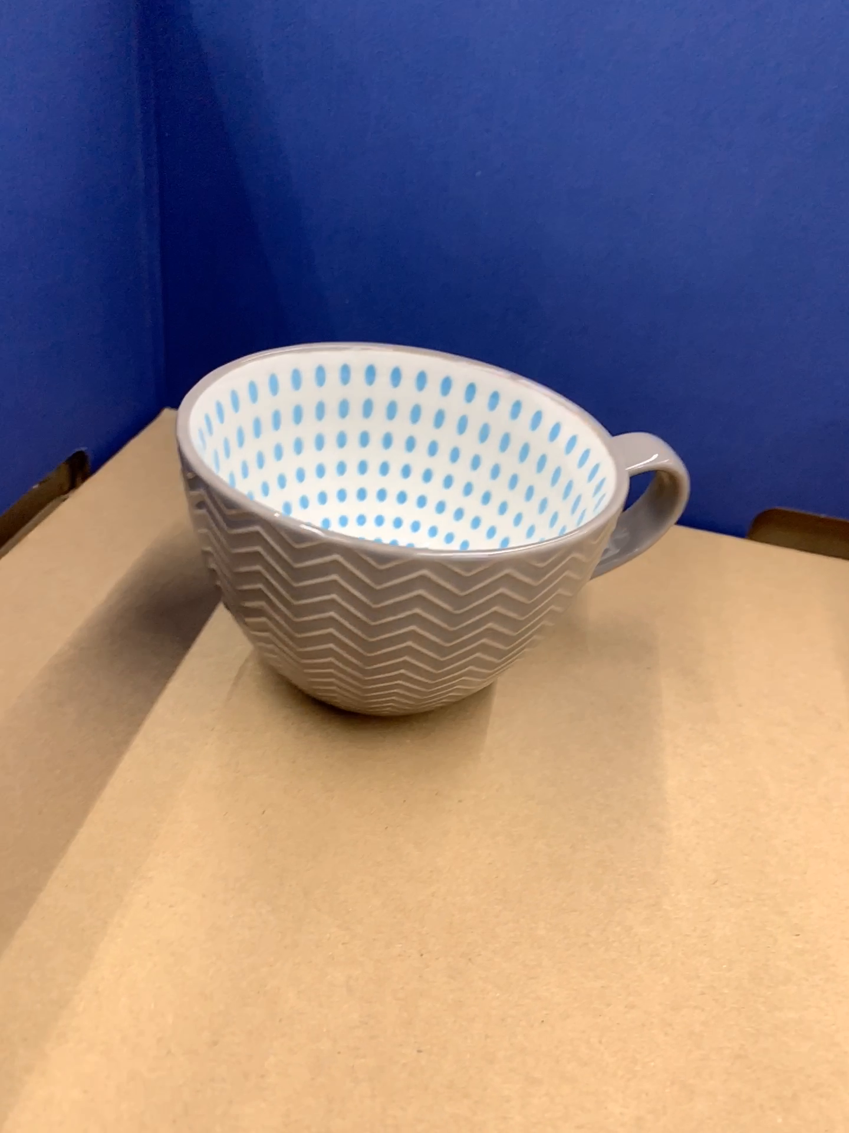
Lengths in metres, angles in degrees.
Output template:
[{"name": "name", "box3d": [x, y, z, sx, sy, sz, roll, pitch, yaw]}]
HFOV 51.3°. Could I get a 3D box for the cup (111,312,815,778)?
[{"name": "cup", "box3d": [0.005, -0.021, 0.245, 0.150, 0.058, 0.109, -11, 37, -27]}]
